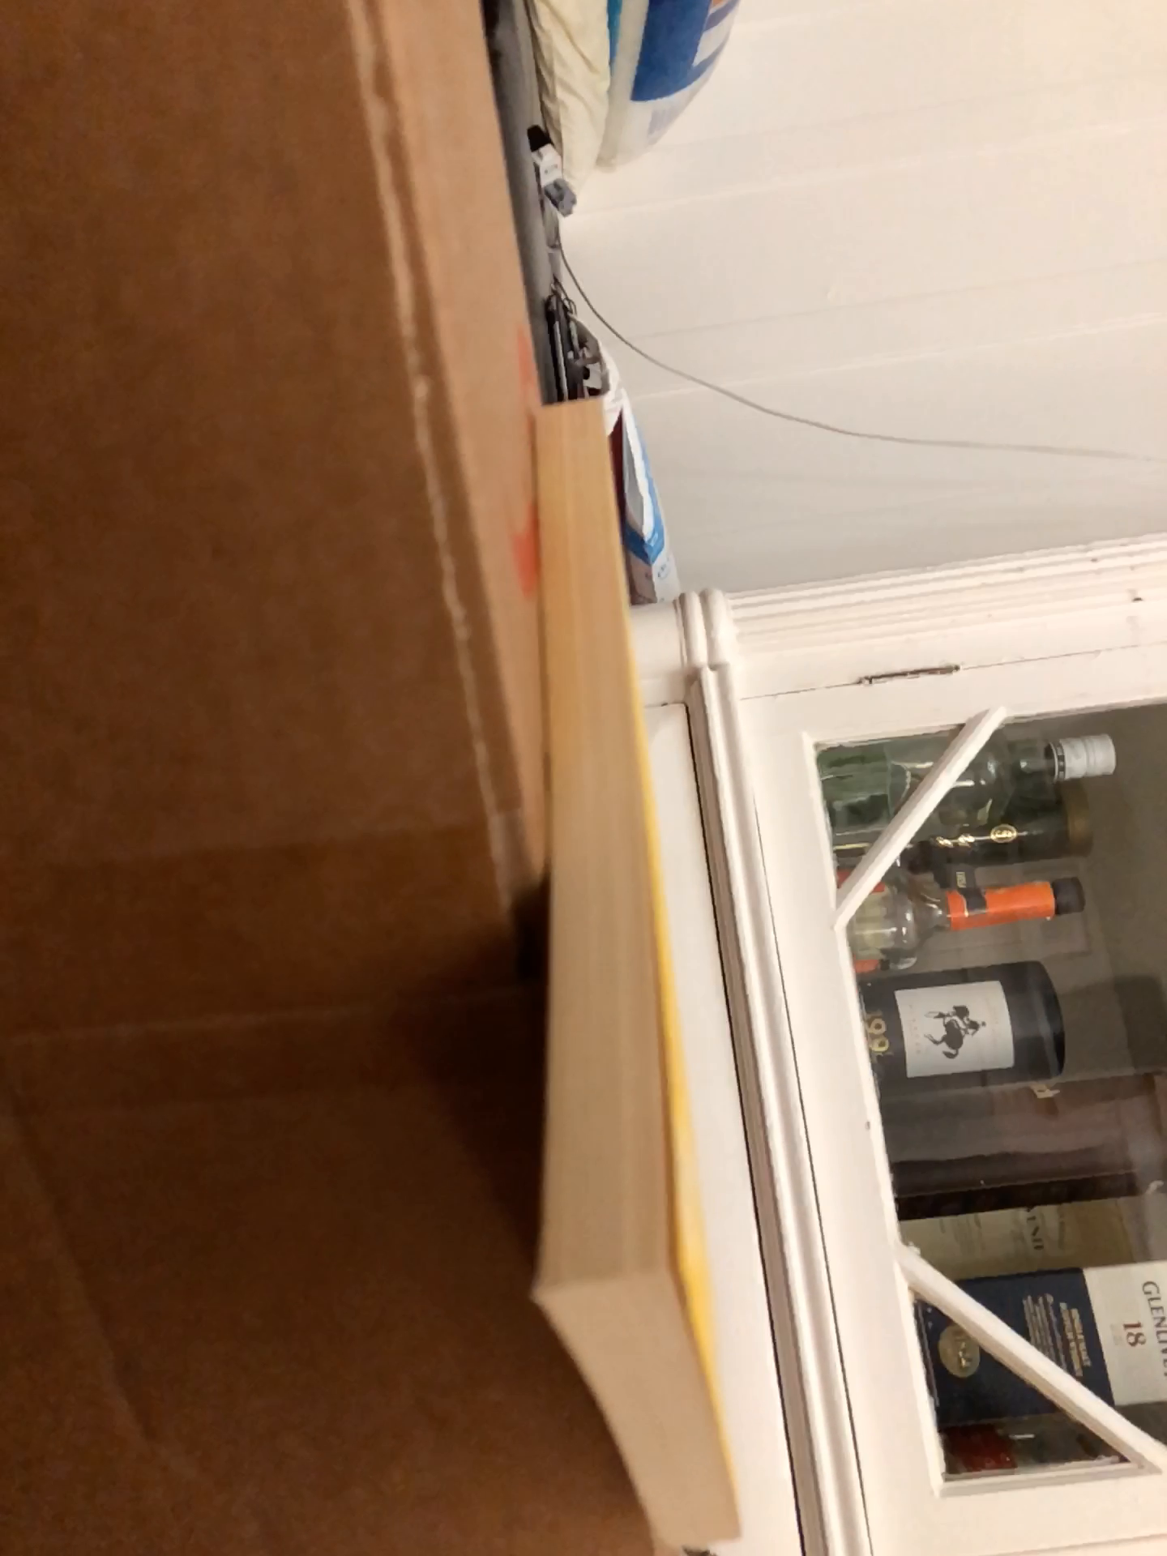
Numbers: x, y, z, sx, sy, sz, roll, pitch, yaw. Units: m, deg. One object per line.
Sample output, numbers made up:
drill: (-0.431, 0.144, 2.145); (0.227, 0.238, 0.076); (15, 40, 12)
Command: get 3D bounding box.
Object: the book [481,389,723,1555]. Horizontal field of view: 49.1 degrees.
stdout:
book: (0.004, 0.043, 0.266); (0.150, 0.020, 0.210); (79, 5, -47)
